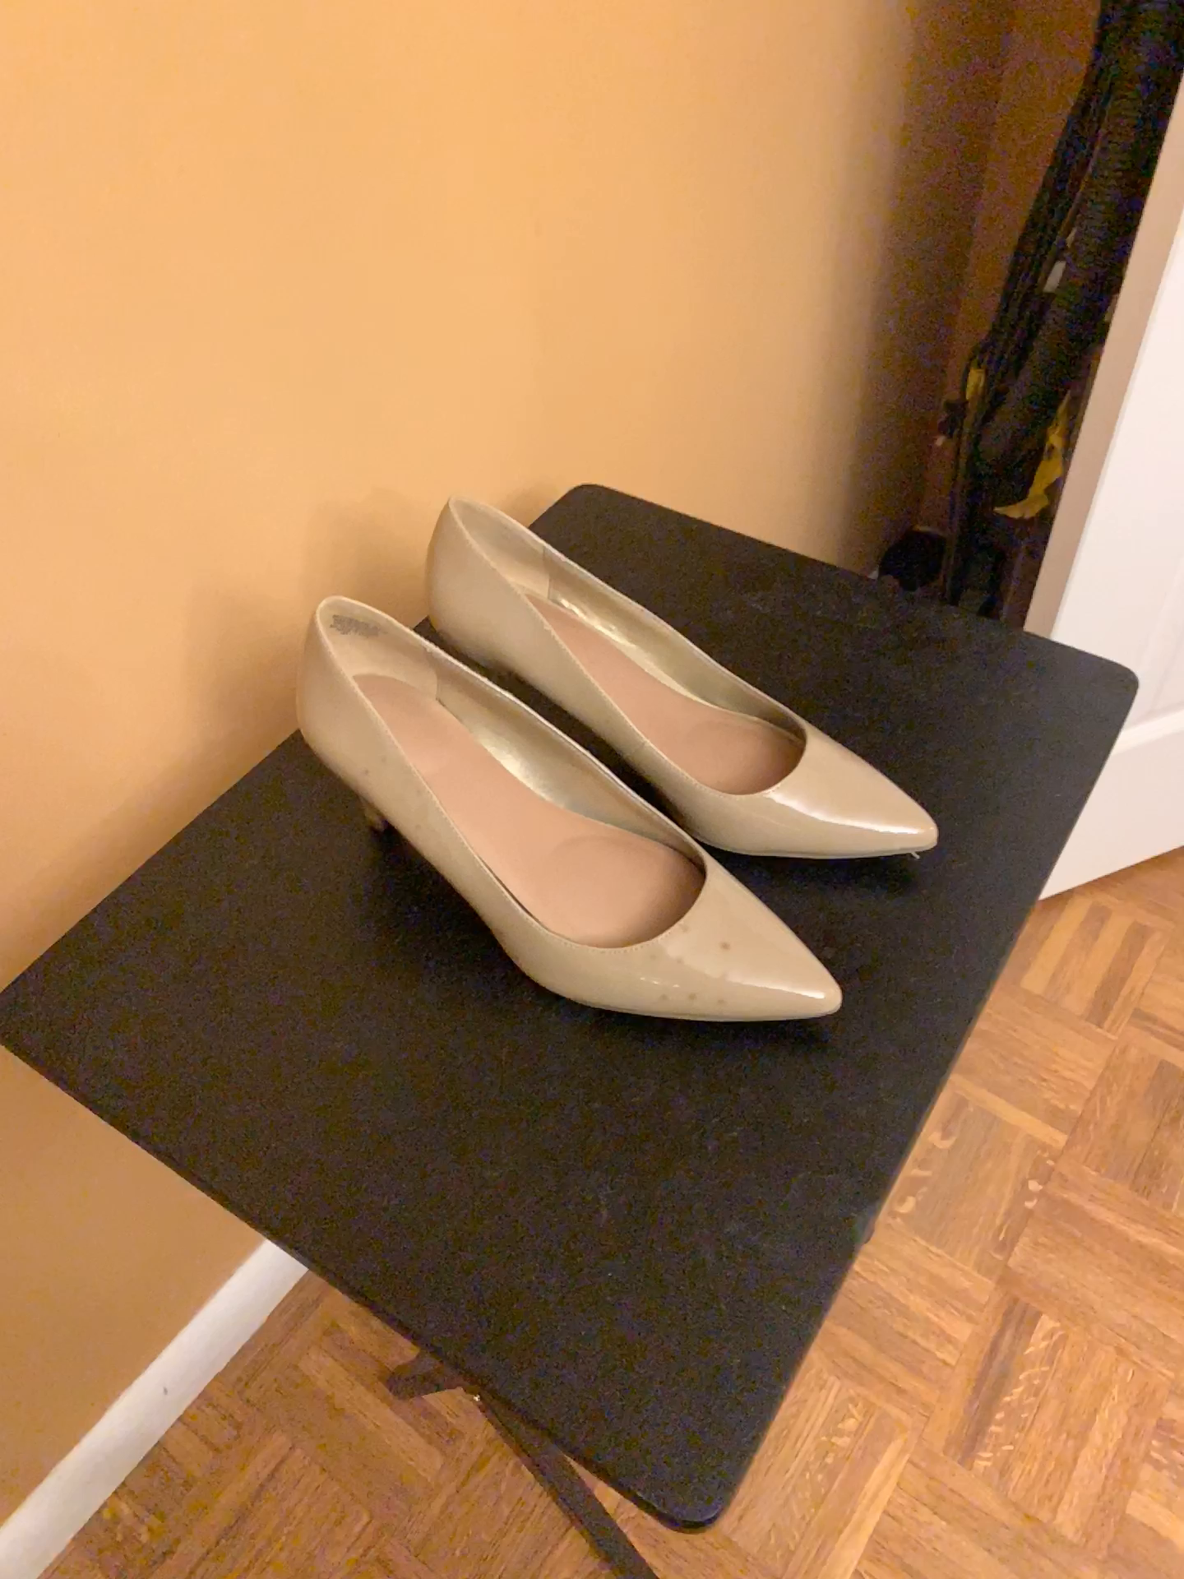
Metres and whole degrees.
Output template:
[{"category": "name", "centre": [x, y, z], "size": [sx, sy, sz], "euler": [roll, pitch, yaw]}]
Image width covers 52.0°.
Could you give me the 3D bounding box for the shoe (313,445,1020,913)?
[{"category": "shoe", "centre": [0.027, -0.062, 0.570], "size": [0.300, 0.090, 0.100], "euler": [22, 51, 22]}]

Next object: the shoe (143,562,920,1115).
[{"category": "shoe", "centre": [-0.031, 0.009, 0.513], "size": [0.300, 0.090, 0.100], "euler": [22, 51, 22]}]
